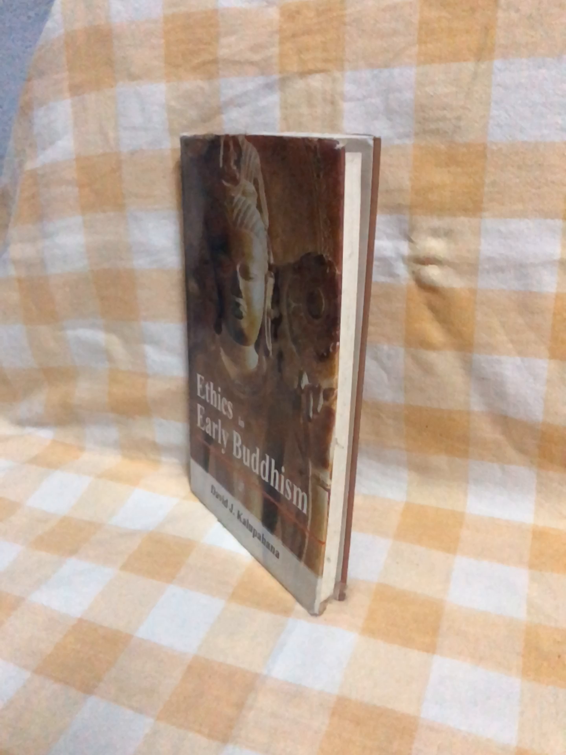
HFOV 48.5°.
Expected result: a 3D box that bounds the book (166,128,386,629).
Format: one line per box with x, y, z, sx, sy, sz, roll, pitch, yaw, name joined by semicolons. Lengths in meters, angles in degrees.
-0.014;-0.009;0.337;0.020;0.229;0.160;-13;26;-31;book
